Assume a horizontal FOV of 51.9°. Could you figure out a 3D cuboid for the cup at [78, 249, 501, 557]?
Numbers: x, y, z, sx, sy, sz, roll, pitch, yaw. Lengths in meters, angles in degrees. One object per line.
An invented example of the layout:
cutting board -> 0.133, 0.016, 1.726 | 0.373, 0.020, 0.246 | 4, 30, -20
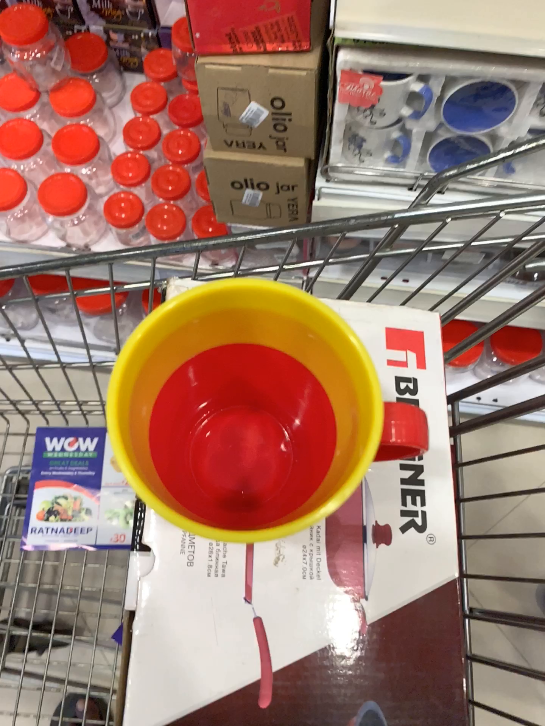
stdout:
cup -> 0.006, 0.021, 0.196 | 0.110, 0.080, 0.080 | 5, 71, -1
